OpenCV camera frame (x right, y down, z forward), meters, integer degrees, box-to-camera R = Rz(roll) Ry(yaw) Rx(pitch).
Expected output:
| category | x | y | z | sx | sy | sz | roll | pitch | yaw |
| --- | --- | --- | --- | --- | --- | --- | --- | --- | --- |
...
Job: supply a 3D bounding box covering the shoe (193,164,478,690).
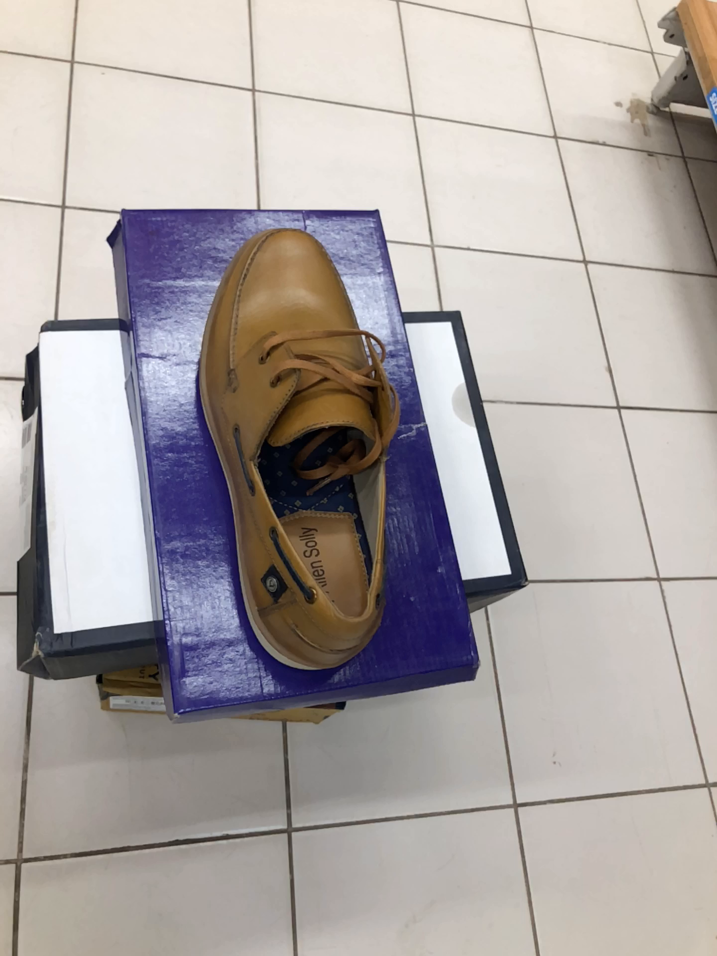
| category | x | y | z | sx | sy | sz | roll | pitch | yaw |
| --- | --- | --- | --- | --- | --- | --- | --- | --- | --- |
| shoe | -0.027 | -0.028 | 0.442 | 0.100 | 0.110 | 0.261 | -2 | 69 | -18 |
